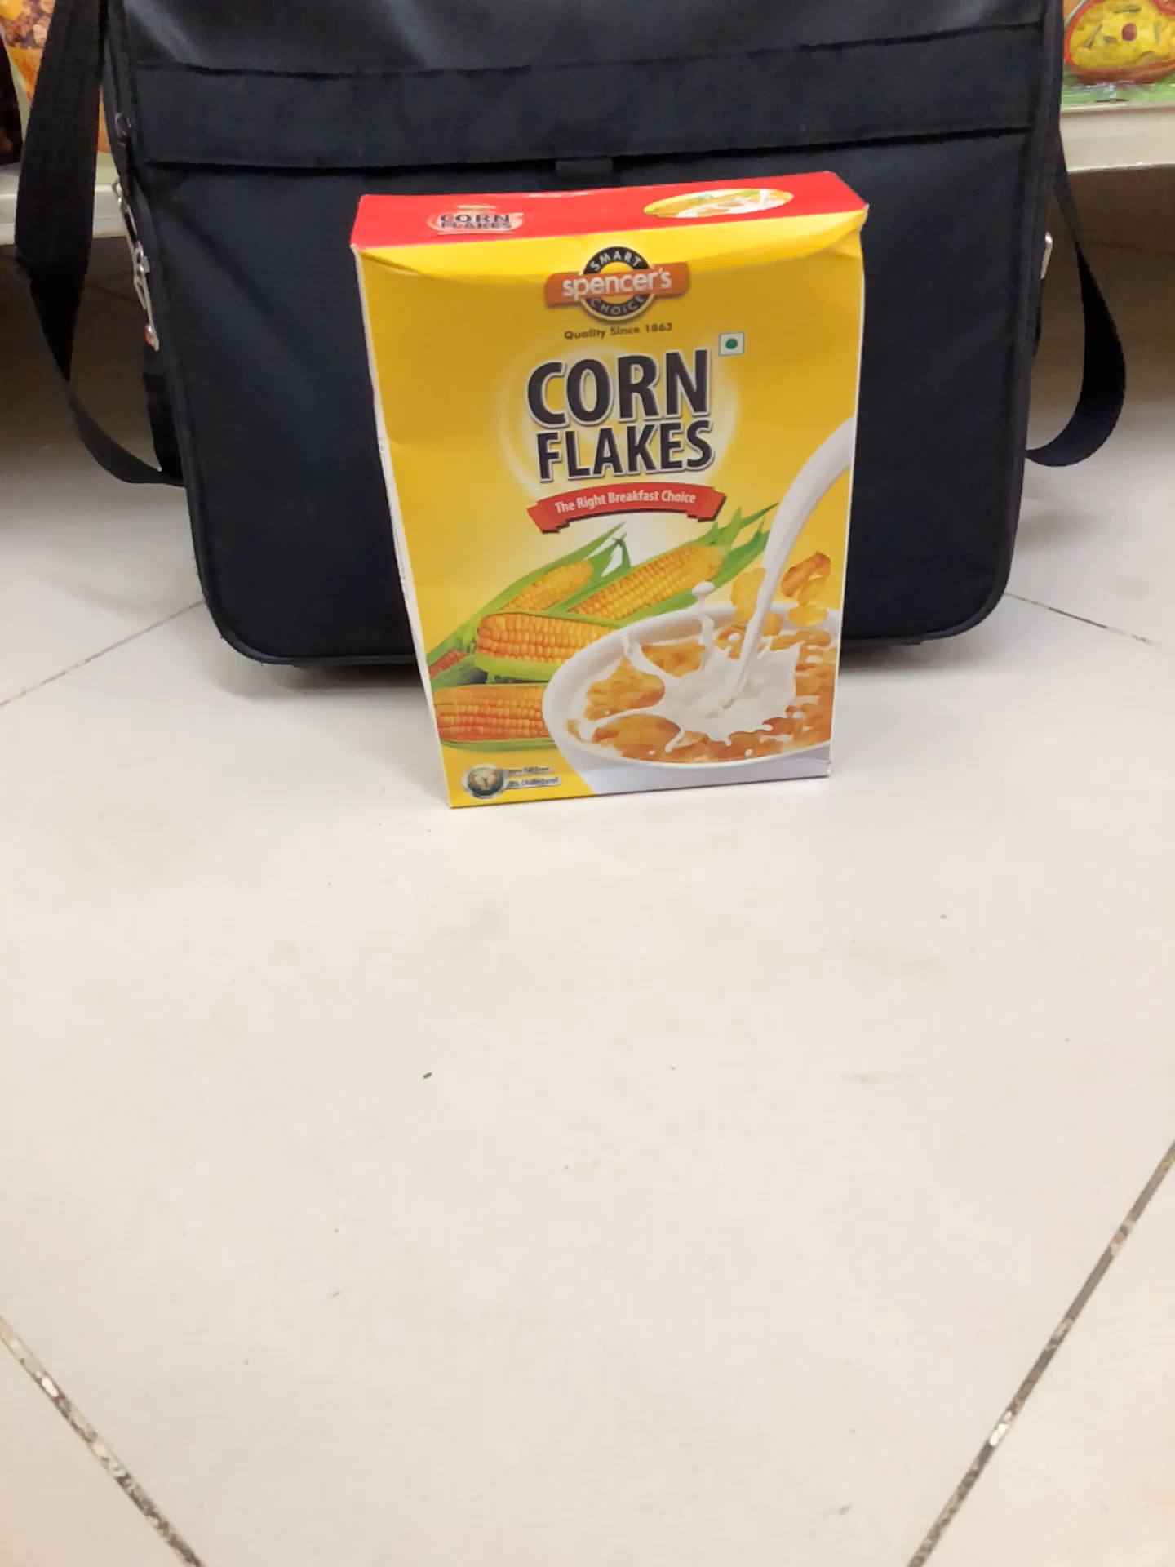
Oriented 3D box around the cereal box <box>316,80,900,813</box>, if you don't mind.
[{"bbox_3d":[0.016,-0.122,0.530,0.190,0.268,0.070,-5,38,1],"label":"cereal box"}]
